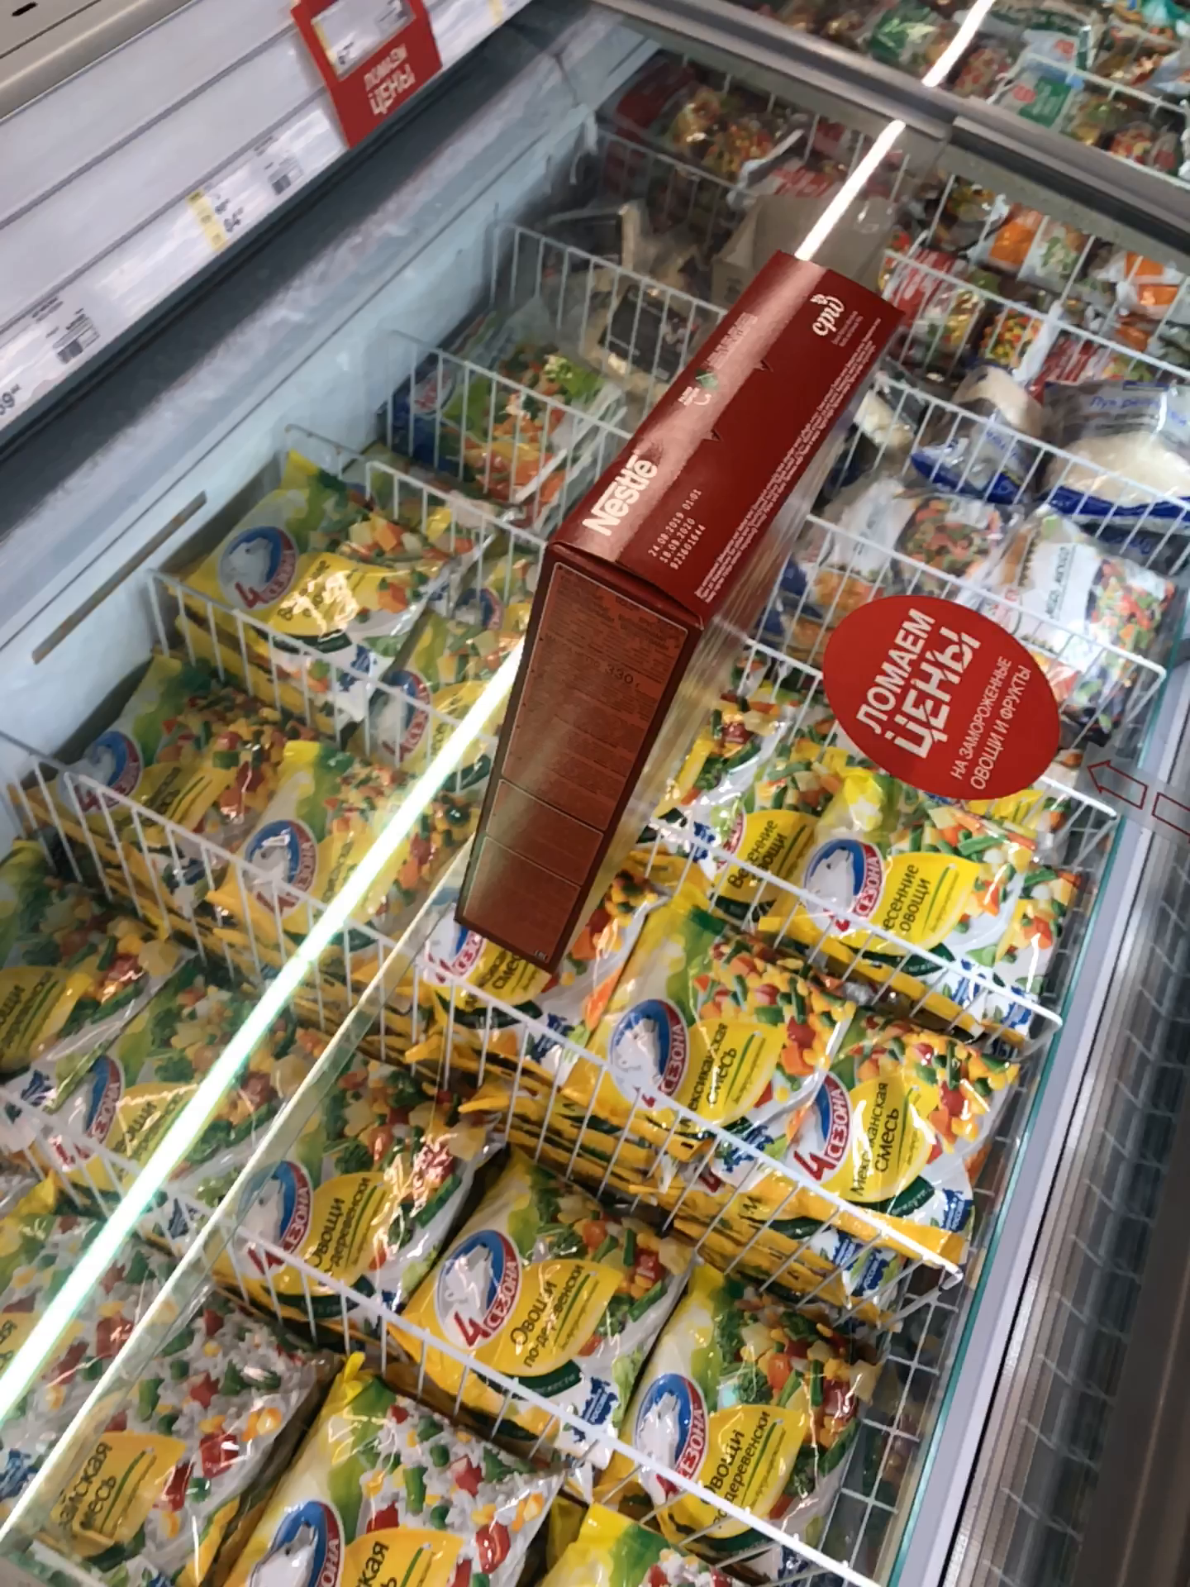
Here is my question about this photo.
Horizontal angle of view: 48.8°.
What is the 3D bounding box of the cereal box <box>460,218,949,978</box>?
[{"bbox_3d":[0.037,-0.070,0.560,0.060,0.259,0.211,29,57,5],"label":"cereal box"}]
